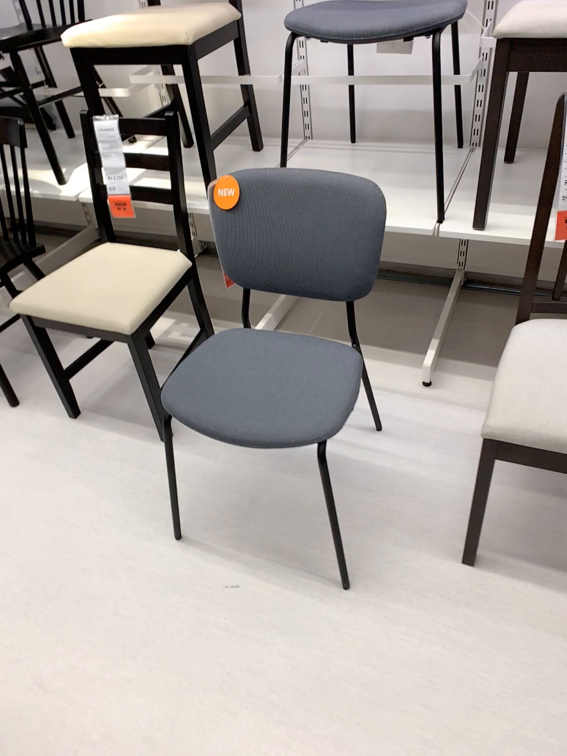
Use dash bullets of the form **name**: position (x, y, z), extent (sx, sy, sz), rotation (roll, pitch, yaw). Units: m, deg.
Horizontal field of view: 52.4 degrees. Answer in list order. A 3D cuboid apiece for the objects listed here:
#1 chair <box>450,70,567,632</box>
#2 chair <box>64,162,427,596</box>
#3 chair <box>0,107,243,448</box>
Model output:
- **chair**: position (0.663, -0.033, 1.154), extent (0.480, 0.926, 0.532), rotation (10, 44, 20)
- **chair**: position (0.000, -0.015, 1.372), extent (0.521, 0.757, 0.592), rotation (10, 44, 20)
- **chair**: position (-0.508, -0.304, 1.740), extent (0.481, 0.806, 0.532), rotation (11, 44, 21)
